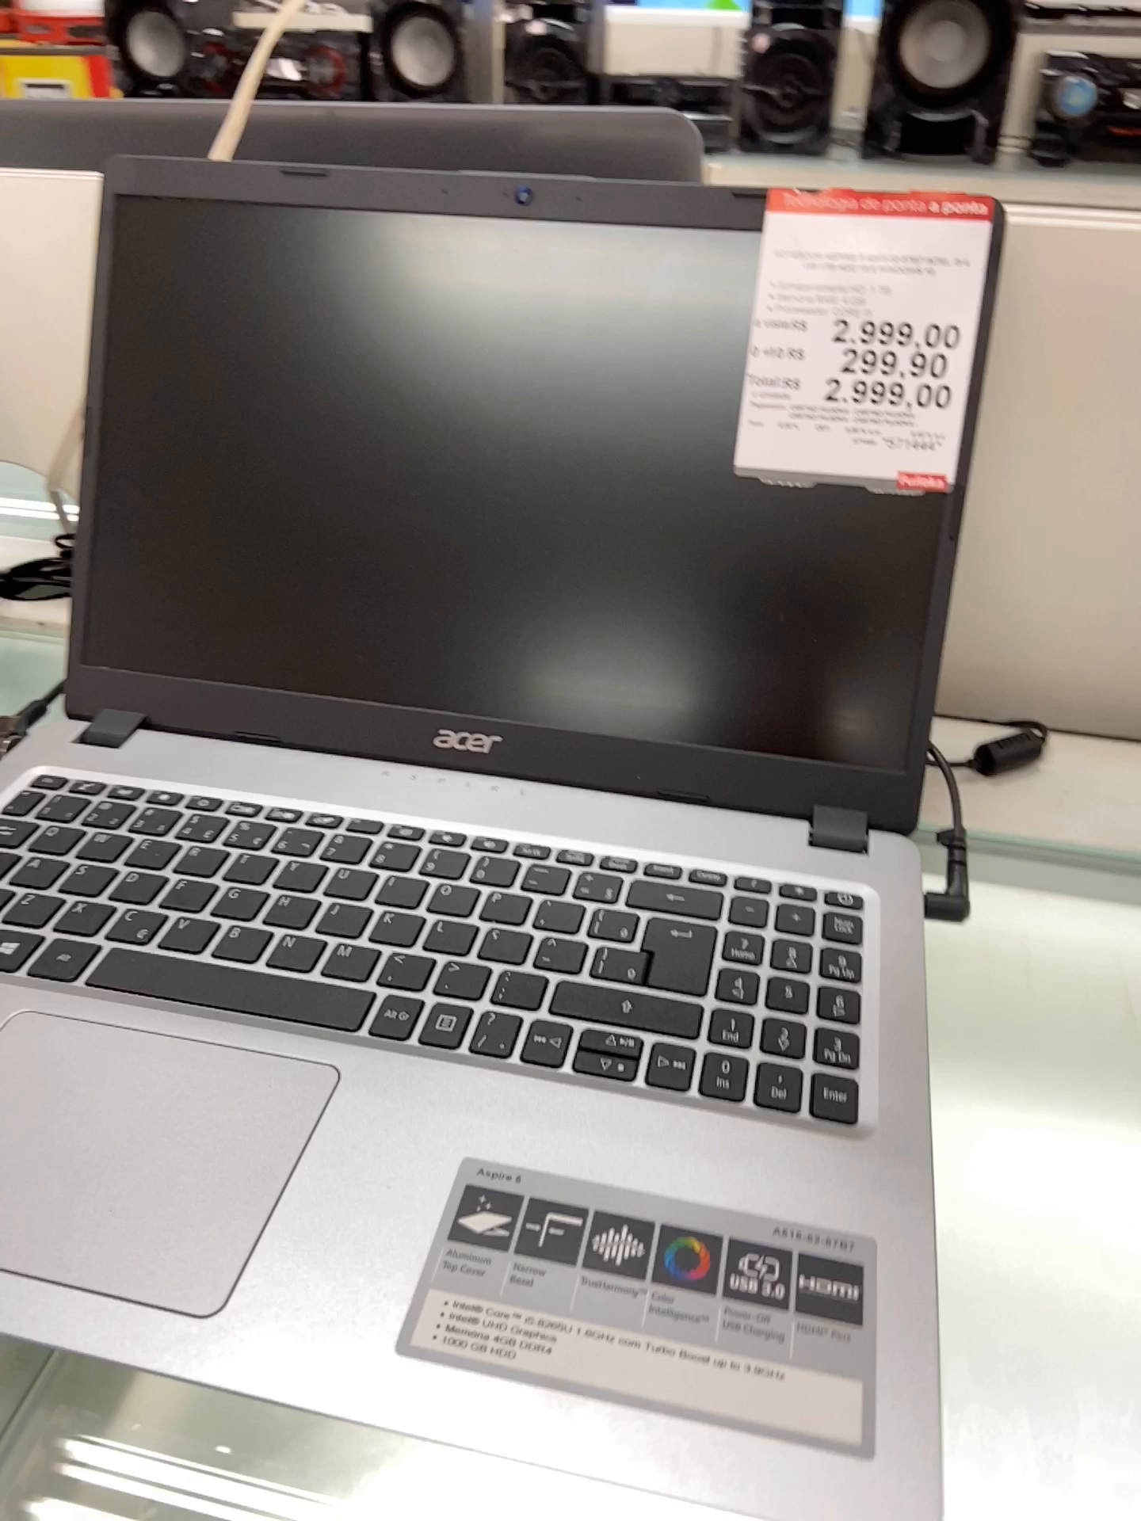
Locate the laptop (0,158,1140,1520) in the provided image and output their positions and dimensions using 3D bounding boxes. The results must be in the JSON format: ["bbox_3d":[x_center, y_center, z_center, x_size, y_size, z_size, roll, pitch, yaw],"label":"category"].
[{"bbox_3d":[-0.061,-0.047,0.375,0.366,0.205,0.374,7,34,11],"label":"laptop"}]
